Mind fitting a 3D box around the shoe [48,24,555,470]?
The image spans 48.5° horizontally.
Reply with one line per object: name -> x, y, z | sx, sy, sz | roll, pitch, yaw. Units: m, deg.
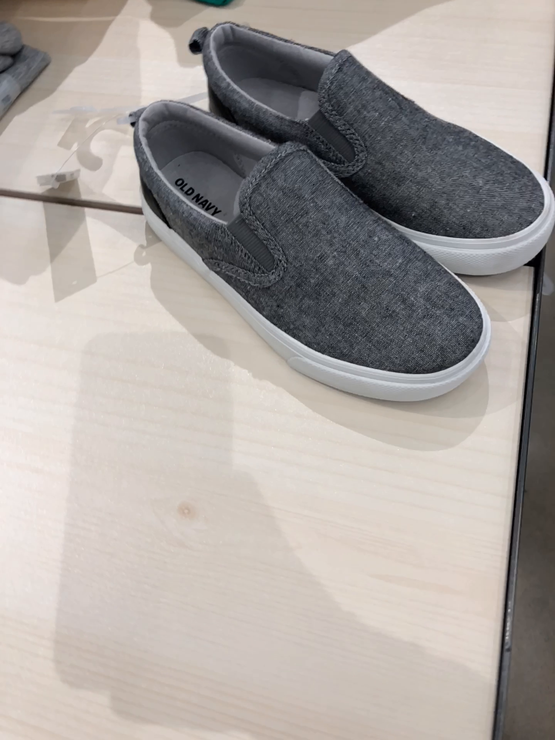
shoe -> 0.007, -0.063, 0.306 | 0.210, 0.100, 0.090 | 36, 73, 21

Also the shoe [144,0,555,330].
shoe -> 0.048, -0.127, 0.338 | 0.210, 0.100, 0.090 | 30, 71, 19
